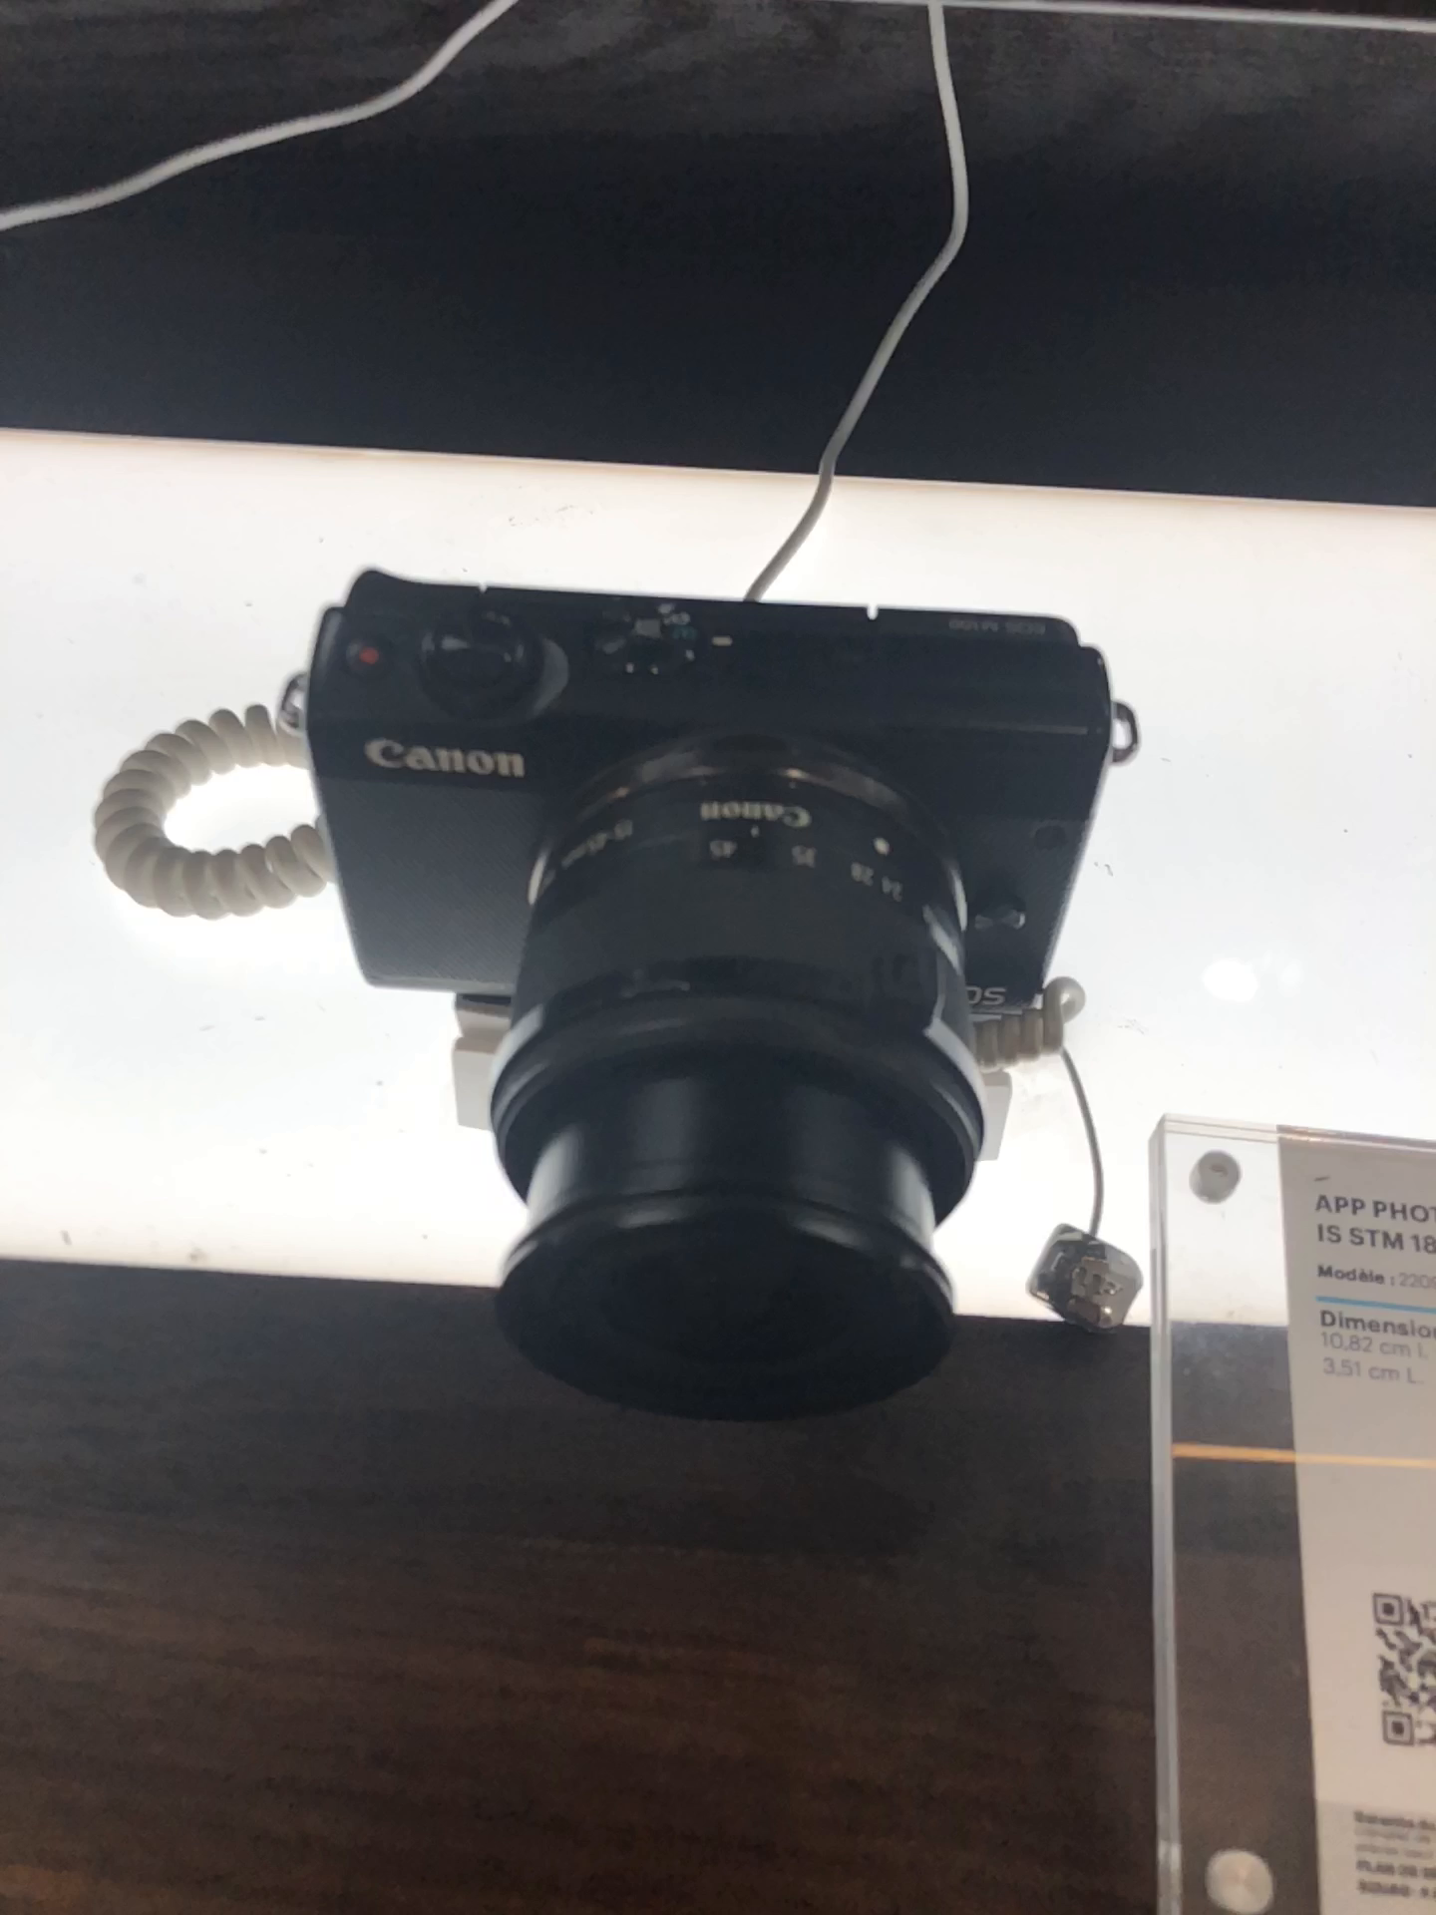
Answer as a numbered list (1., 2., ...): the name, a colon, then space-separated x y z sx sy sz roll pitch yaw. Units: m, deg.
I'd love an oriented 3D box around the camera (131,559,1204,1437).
1. camera: -0.004 0.003 0.224 0.112 0.071 0.094 3 46 1
